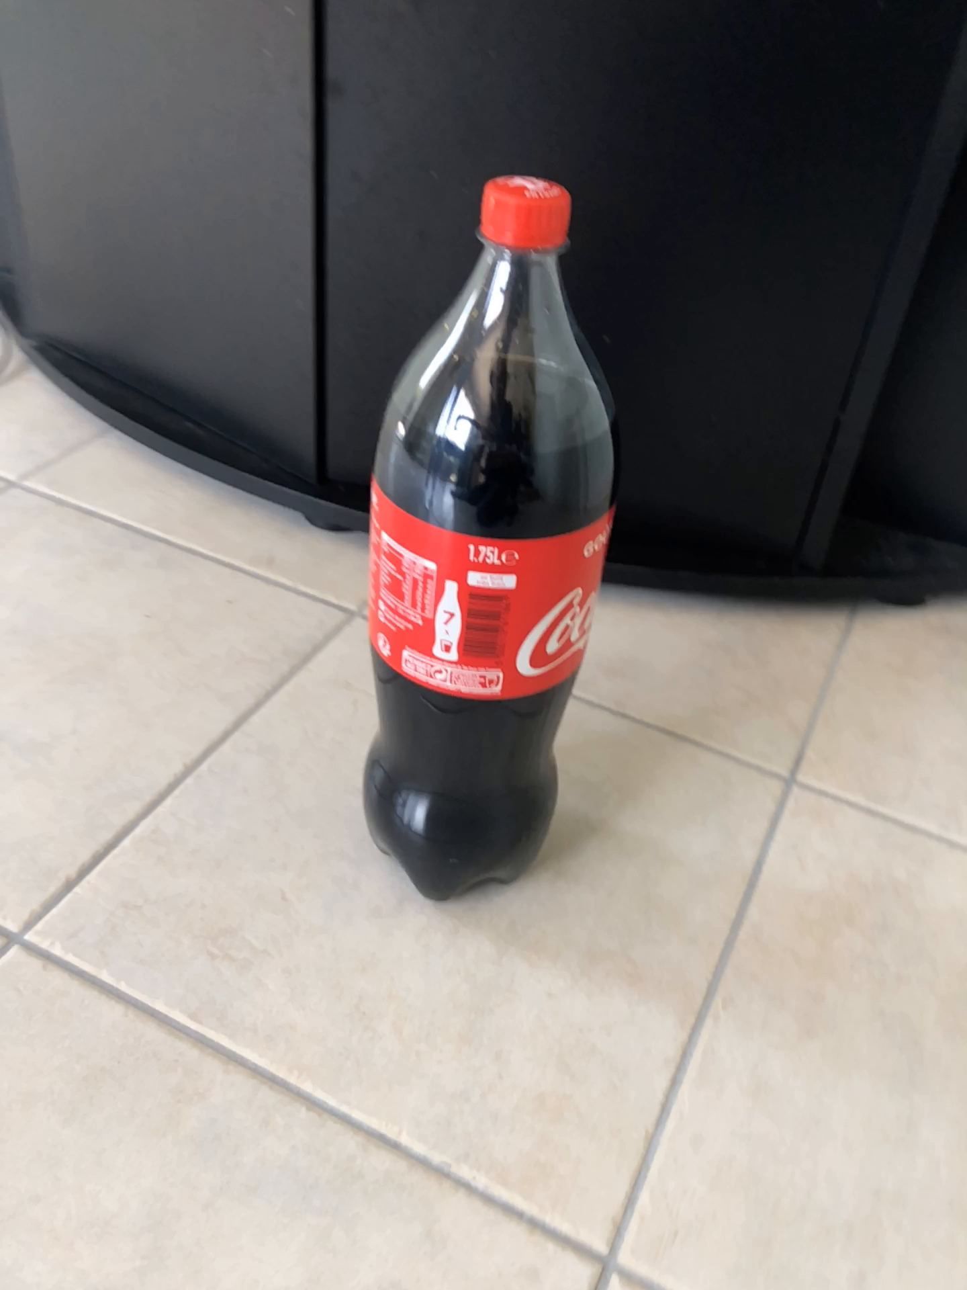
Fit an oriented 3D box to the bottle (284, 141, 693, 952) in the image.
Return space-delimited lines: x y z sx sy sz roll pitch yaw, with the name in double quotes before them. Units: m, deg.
"bottle" -0.006 -0.026 0.446 0.100 0.308 0.111 19 40 15
